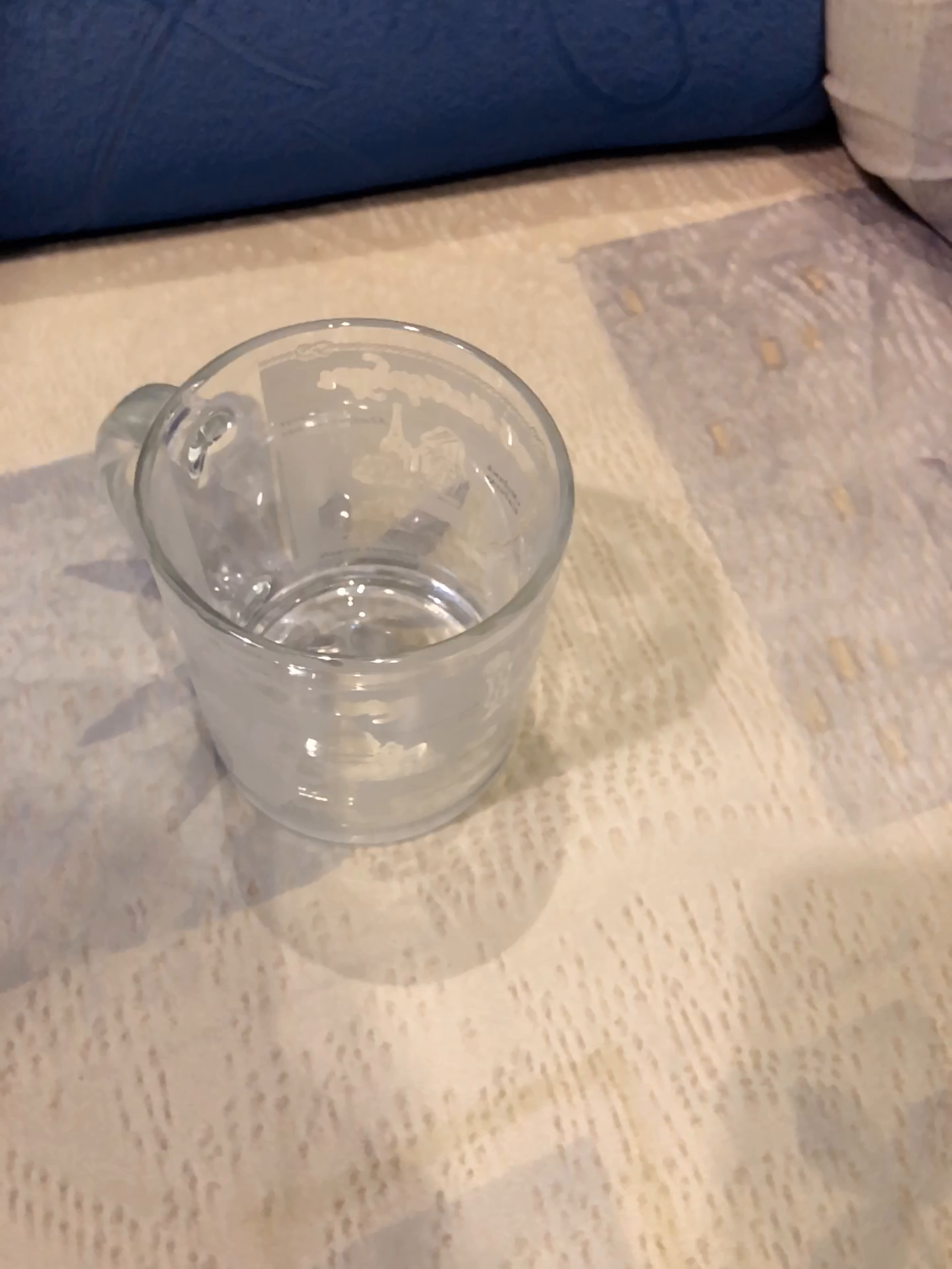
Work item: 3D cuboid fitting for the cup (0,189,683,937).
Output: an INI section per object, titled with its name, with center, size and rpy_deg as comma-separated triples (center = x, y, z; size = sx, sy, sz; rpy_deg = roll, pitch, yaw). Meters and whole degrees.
[cup]
center = -0.038, -0.015, 0.231
size = 0.120, 0.080, 0.090
rpy_deg = 30, 61, 12
